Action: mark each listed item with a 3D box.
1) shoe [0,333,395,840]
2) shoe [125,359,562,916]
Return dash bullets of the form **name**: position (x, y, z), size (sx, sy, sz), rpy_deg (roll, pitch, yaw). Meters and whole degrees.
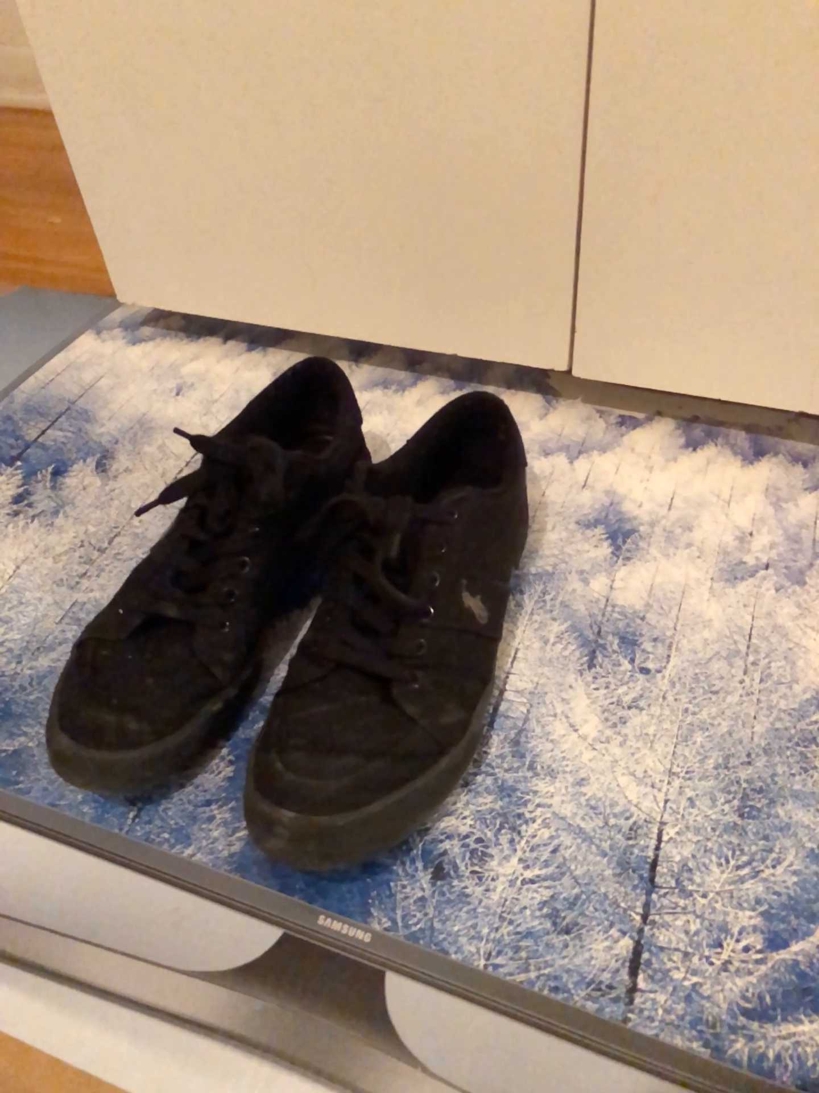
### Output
- **shoe**: position (-0.116, 0.005, 0.518), size (0.110, 0.109, 0.272), rpy_deg (14, 48, 18)
- **shoe**: position (-0.012, 0.028, 0.471), size (0.110, 0.109, 0.262), rpy_deg (14, 48, 18)
